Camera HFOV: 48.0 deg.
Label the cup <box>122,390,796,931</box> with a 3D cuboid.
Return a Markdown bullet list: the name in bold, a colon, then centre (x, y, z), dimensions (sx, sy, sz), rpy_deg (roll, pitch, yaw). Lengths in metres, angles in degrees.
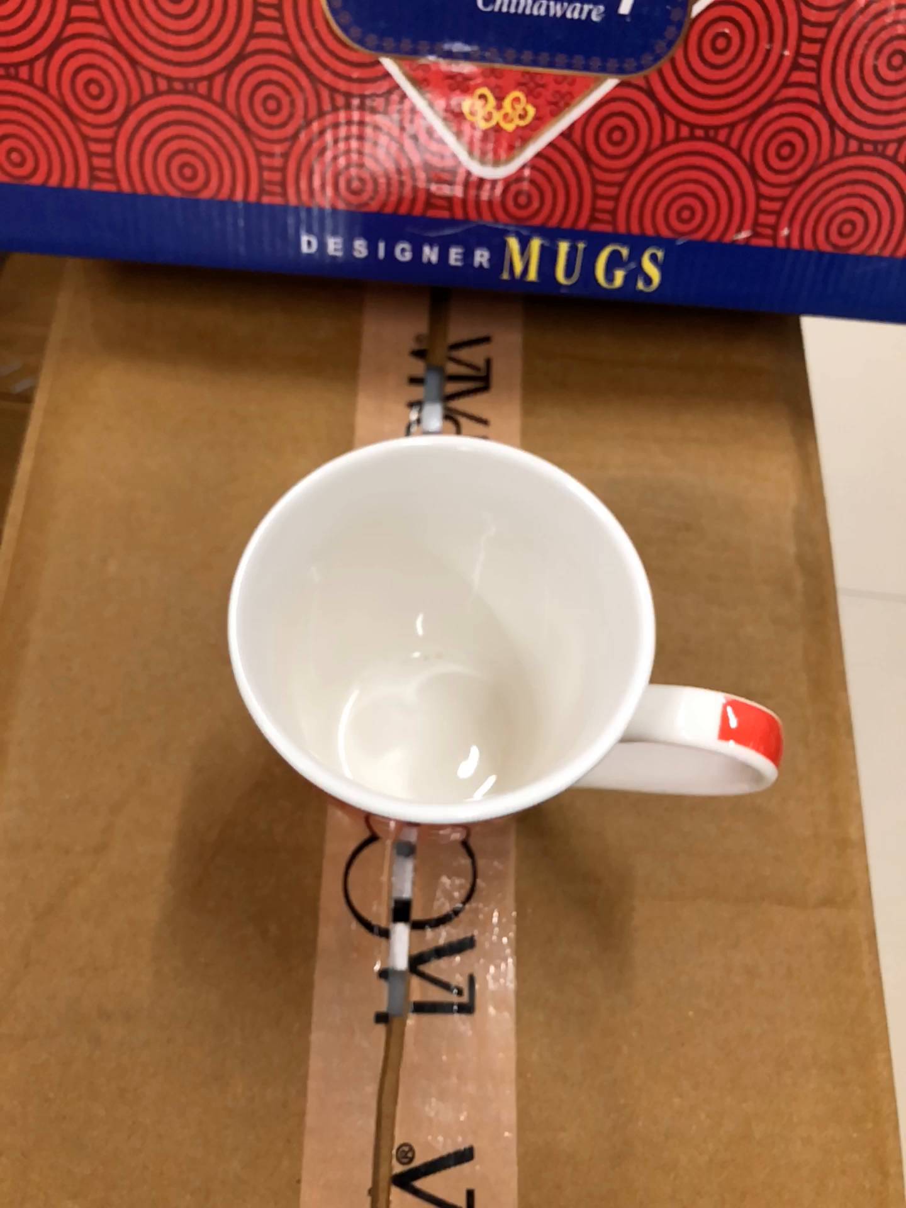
- **cup**: centre (0.003, 0.020, 0.240), dimensions (0.120, 0.090, 0.080), rpy_deg (11, 66, 0)
